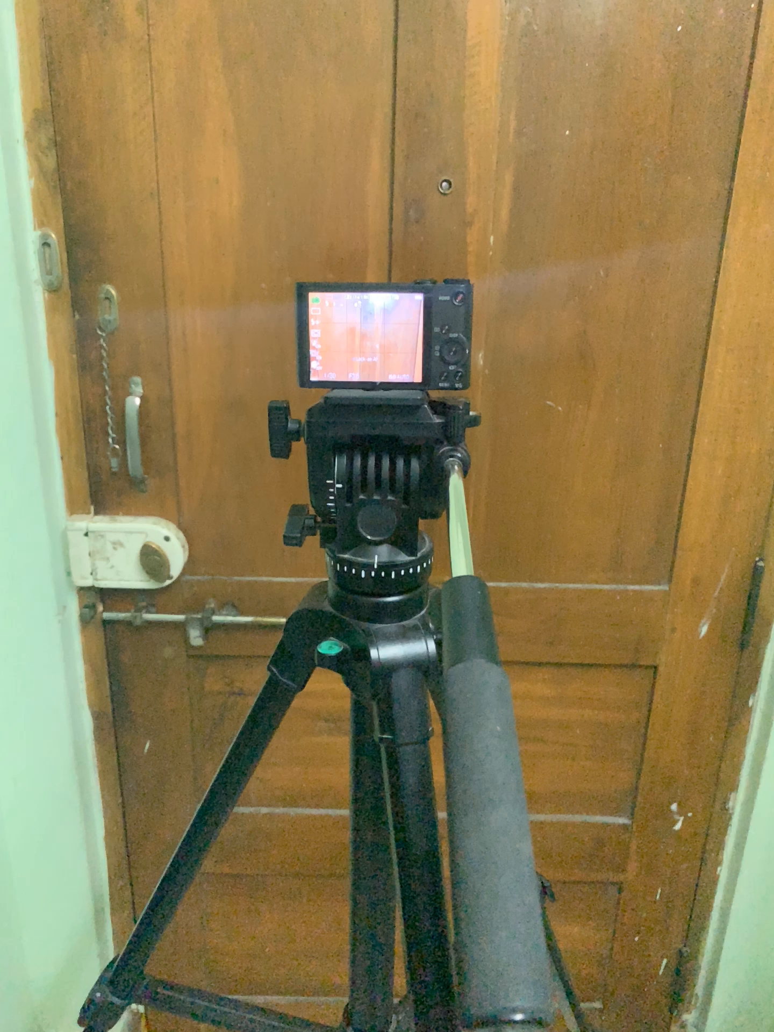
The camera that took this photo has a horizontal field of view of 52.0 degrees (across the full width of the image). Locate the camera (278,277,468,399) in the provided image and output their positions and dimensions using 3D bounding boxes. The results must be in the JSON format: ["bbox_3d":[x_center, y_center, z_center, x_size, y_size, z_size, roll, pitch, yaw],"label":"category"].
[{"bbox_3d":[-0.007,-0.099,0.442,0.100,0.060,0.040,3,13,3],"label":"camera"}]
